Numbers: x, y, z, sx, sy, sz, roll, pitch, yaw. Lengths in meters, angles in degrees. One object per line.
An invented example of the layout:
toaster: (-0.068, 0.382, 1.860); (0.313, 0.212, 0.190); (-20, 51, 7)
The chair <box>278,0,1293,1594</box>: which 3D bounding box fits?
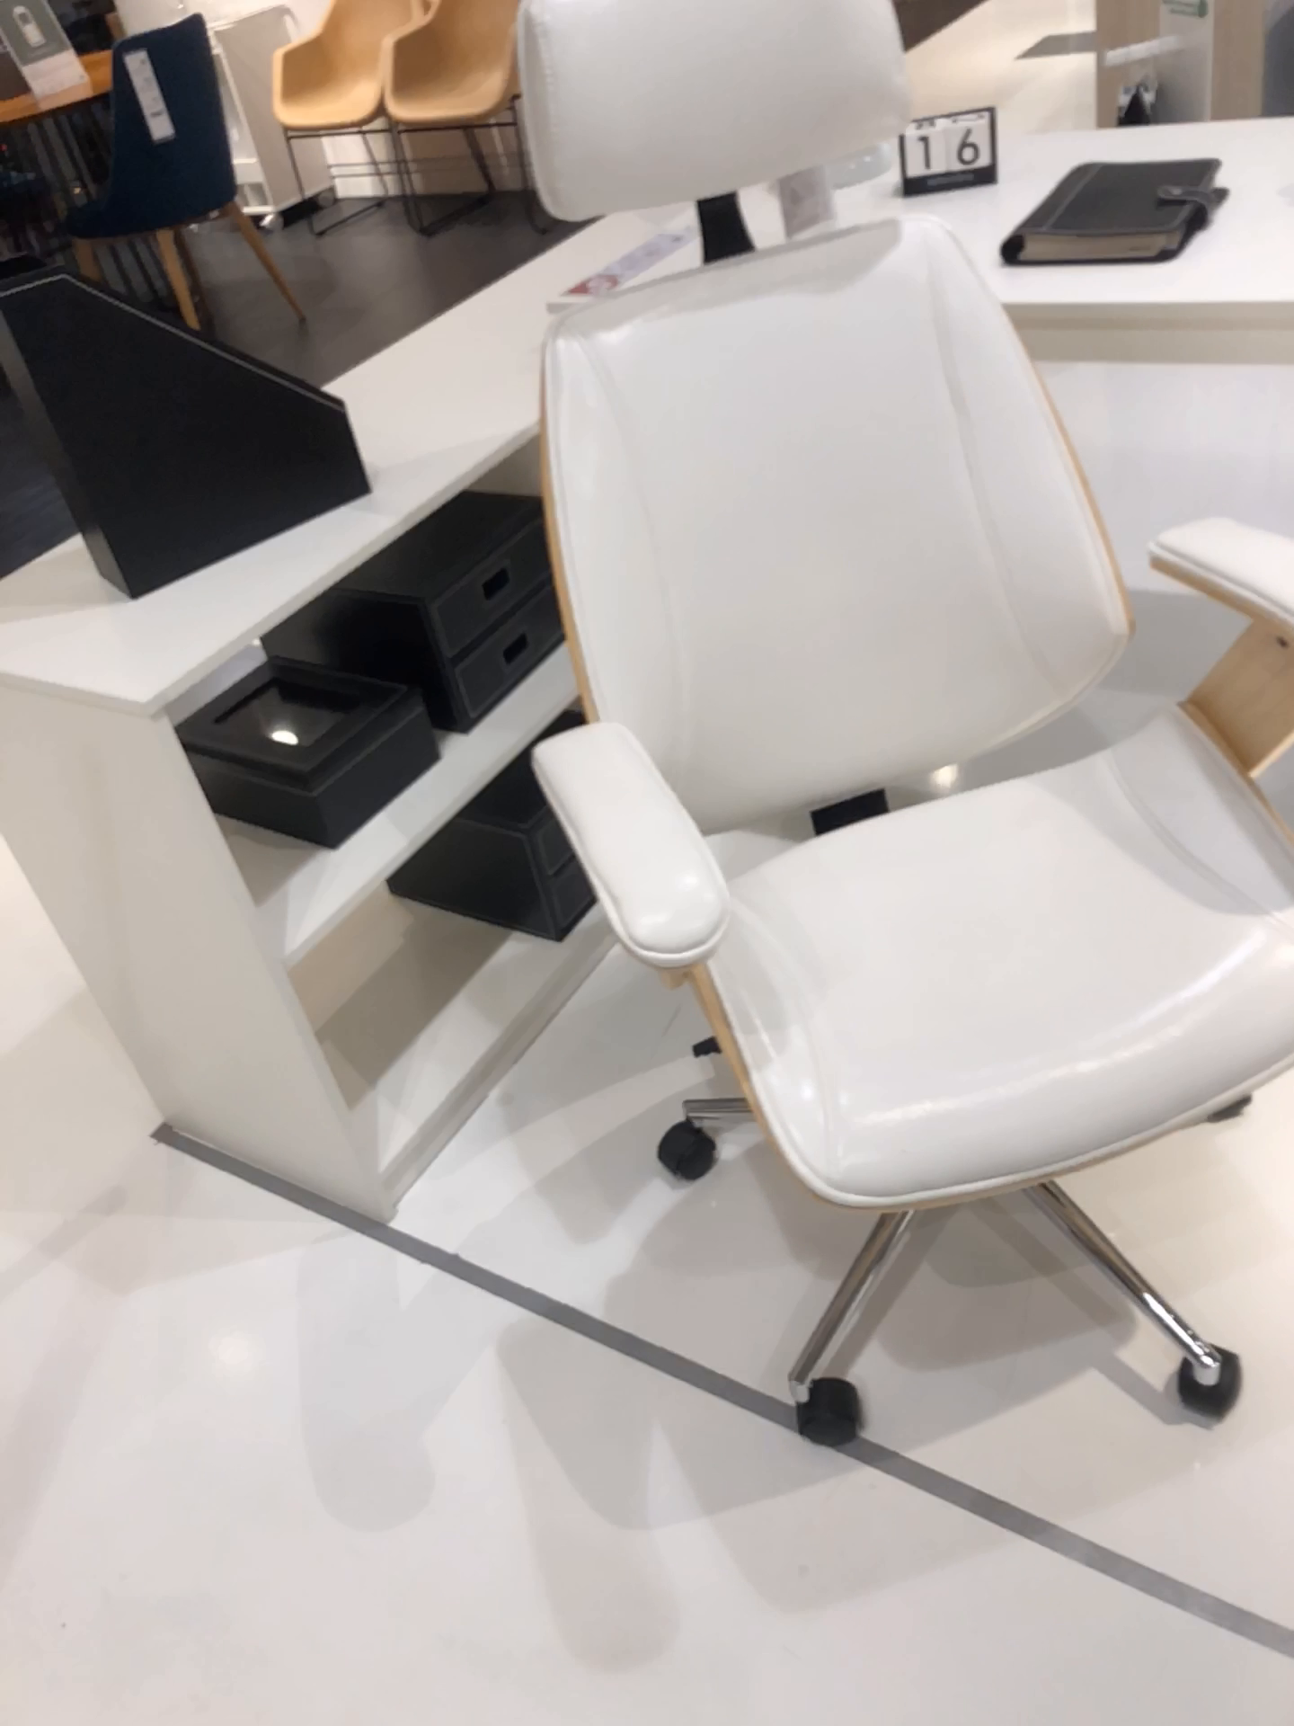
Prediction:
chair: (0.227, -0.115, 1.176); (0.670, 1.102, 0.705); (-17, 37, -5)
